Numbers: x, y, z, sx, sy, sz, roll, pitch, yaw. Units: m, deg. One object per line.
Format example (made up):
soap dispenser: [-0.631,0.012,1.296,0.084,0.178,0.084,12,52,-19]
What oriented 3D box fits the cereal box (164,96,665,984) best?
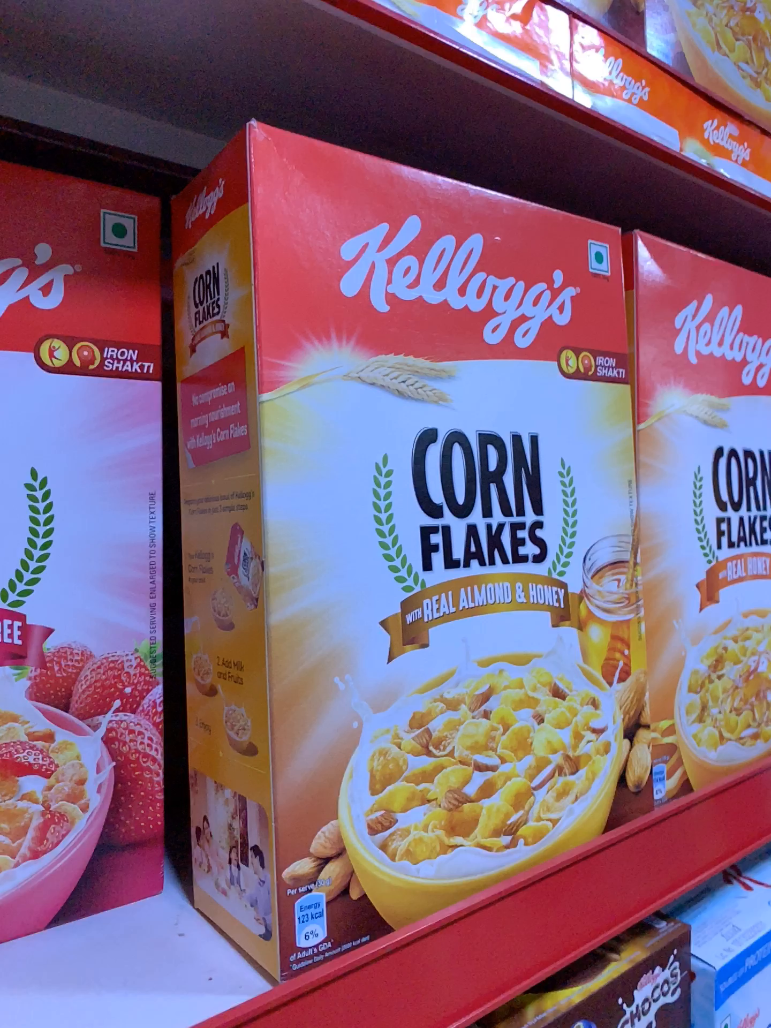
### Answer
cereal box: [0.019,0.004,0.283,0.170,0.230,0.060,-2,1,-36]
